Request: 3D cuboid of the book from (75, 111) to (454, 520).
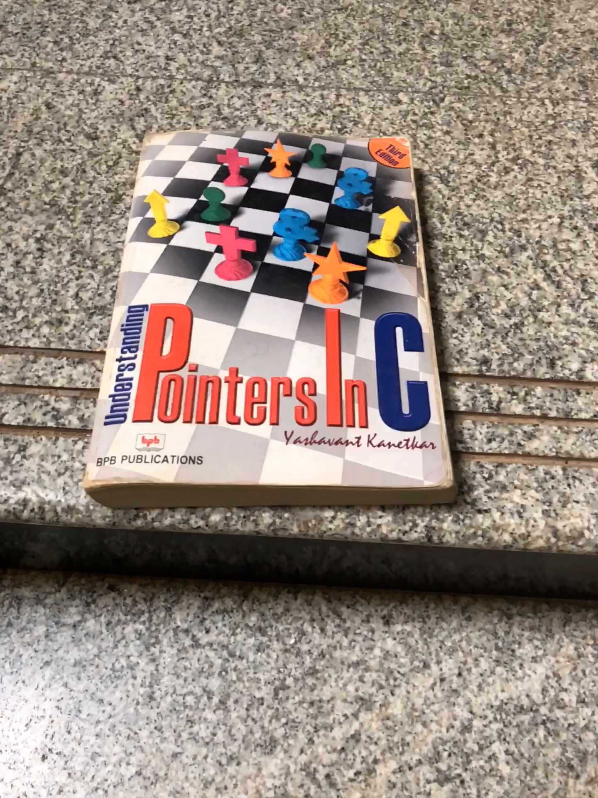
[{"bbox_3d":[-0.012,-0.053,0.316,0.140,0.030,0.220,1,58,-1],"label":"book"}]
